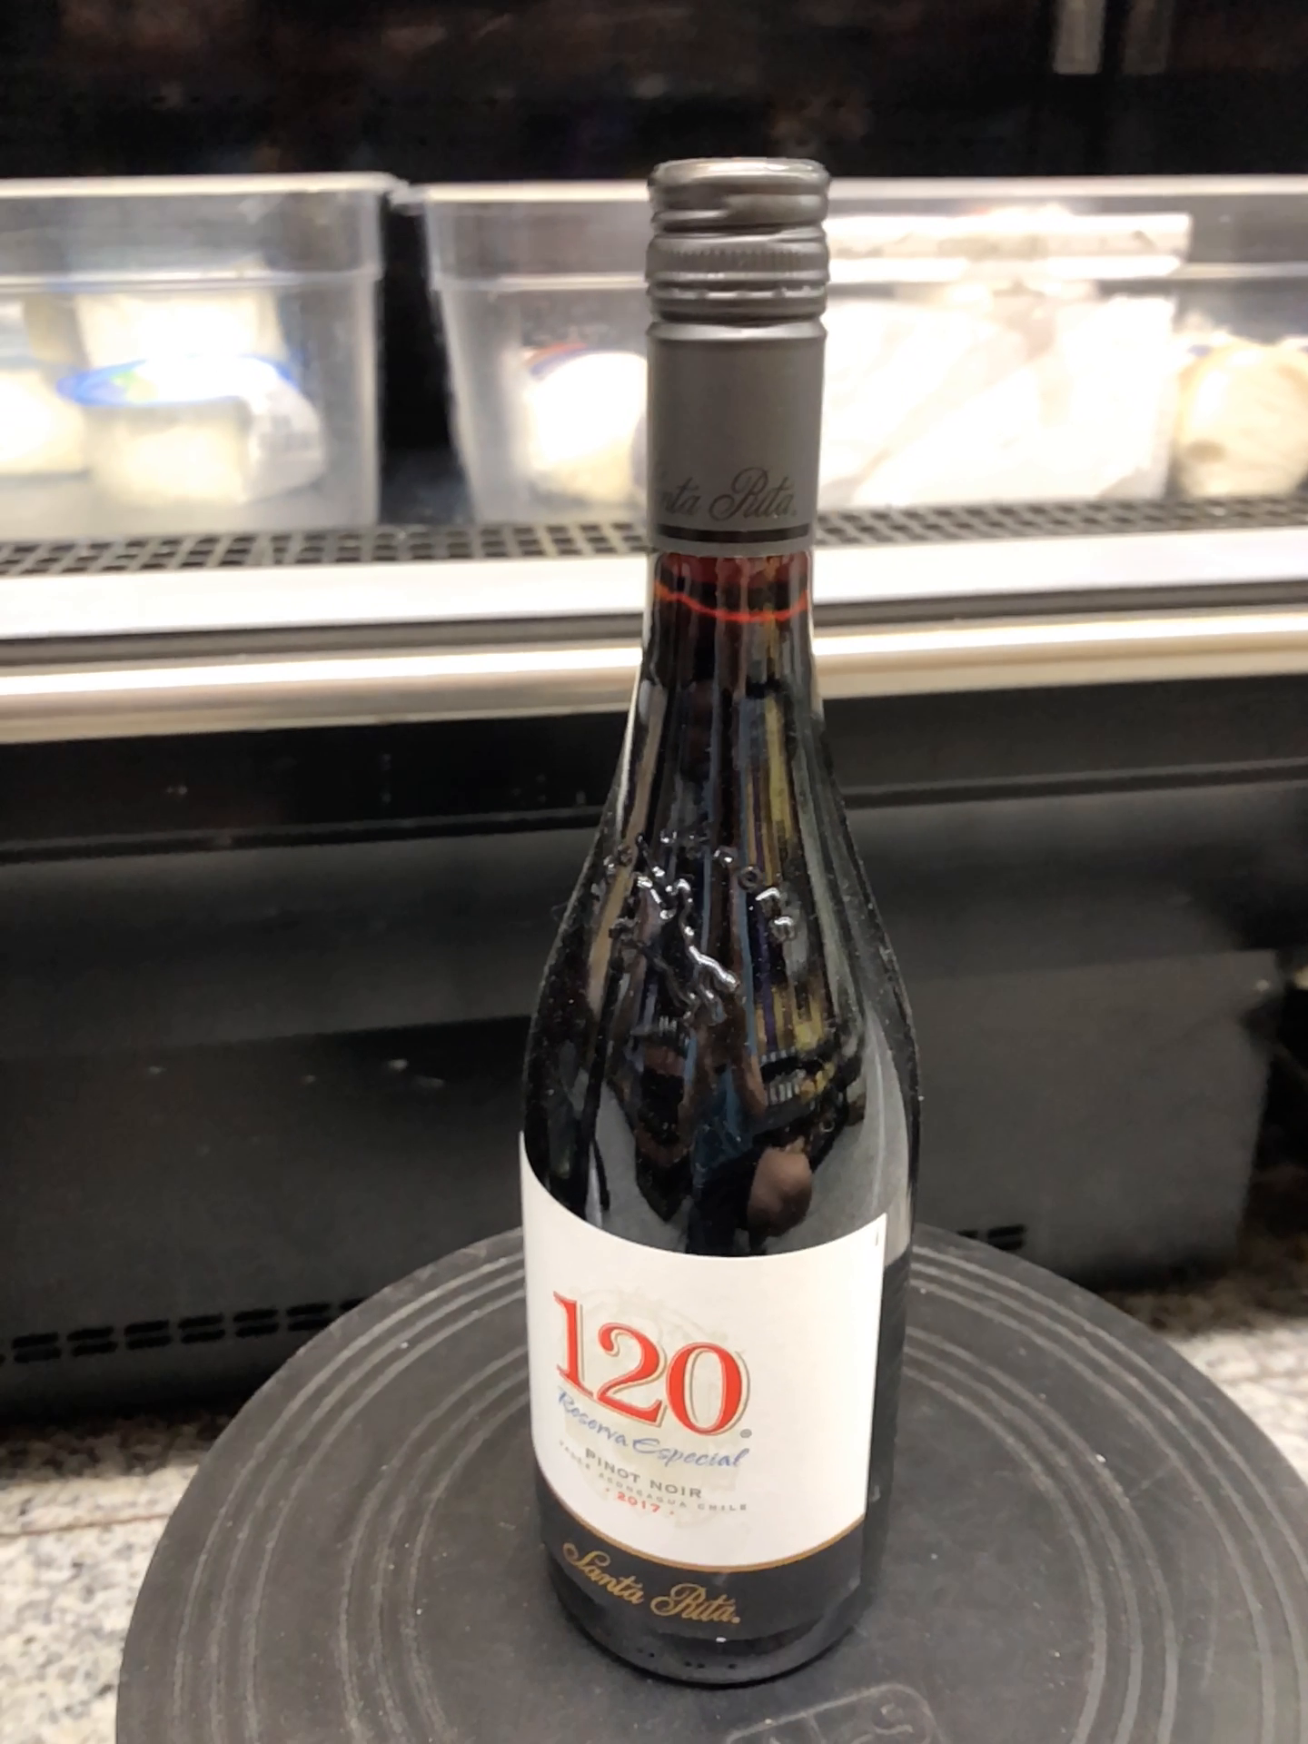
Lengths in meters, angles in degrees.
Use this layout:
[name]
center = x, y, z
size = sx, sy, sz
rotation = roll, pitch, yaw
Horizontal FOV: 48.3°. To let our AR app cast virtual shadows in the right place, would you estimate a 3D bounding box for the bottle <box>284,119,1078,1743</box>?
[bottle]
center = 0.011, 0.023, 0.276
size = 0.090, 0.288, 0.091
rotation = 0, 24, 0
